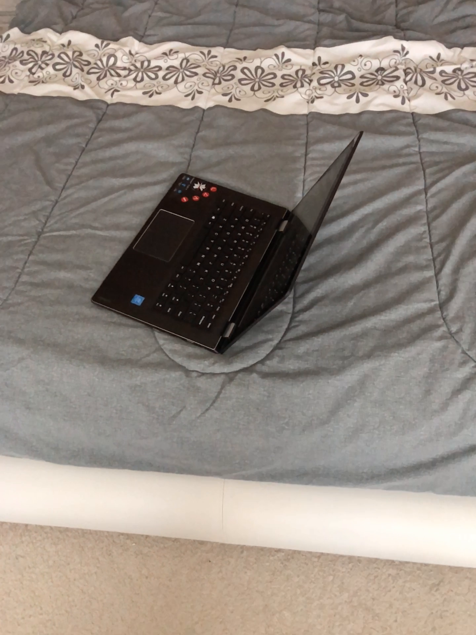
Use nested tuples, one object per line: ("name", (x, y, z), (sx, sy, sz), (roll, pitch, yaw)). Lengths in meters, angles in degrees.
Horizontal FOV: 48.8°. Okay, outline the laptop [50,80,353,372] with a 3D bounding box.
("laptop", (-0.037, -0.169, 0.911), (0.351, 0.214, 0.362), (20, 59, 13))
